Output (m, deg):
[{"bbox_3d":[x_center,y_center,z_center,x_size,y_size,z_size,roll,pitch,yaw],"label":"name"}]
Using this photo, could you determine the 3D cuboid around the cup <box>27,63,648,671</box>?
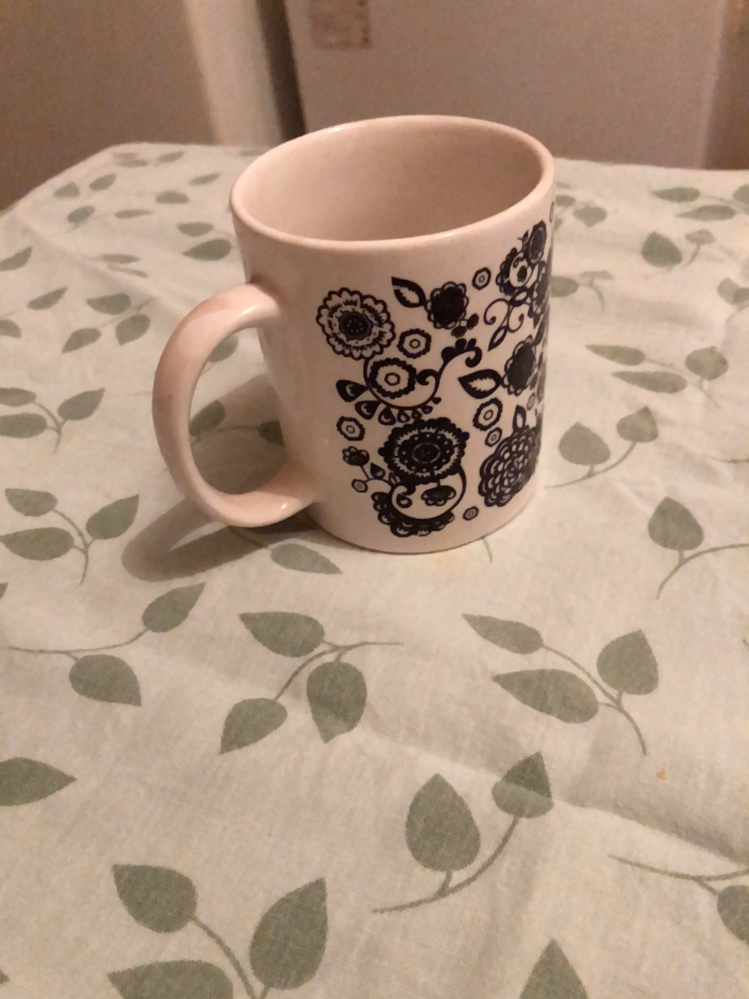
[{"bbox_3d":[-0.004,-0.041,0.226,0.120,0.099,0.080,-30,47,-22],"label":"cup"}]
